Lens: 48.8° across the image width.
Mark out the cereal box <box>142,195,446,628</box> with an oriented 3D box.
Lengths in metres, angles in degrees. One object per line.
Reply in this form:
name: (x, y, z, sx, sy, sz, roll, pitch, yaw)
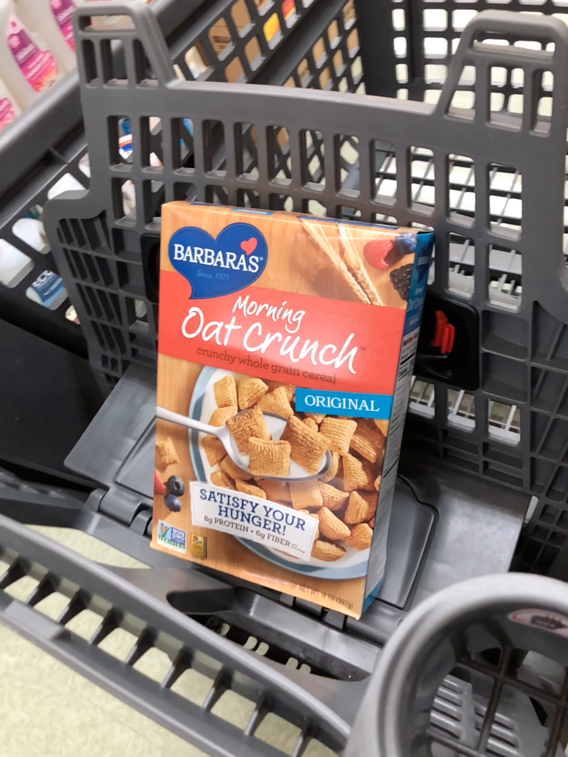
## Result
cereal box: (-0.004, 0.016, 0.432, 0.180, 0.260, 0.060, 12, 19, 22)
